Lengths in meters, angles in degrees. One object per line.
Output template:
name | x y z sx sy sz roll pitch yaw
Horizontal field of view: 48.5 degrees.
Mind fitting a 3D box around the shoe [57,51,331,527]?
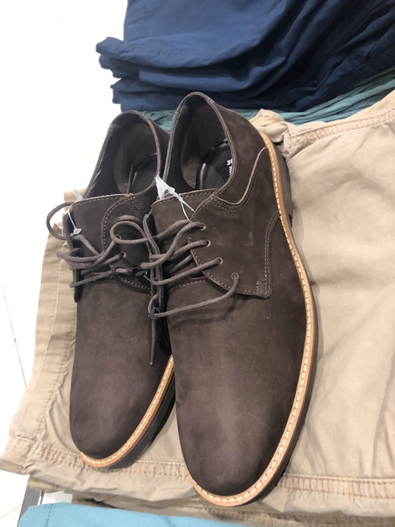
shoe | 0.009 0.016 0.285 0.100 0.109 0.261 -13 61 31

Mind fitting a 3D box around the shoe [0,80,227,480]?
shoe | -0.063 0.012 0.344 0.110 0.109 0.261 -4 68 30
